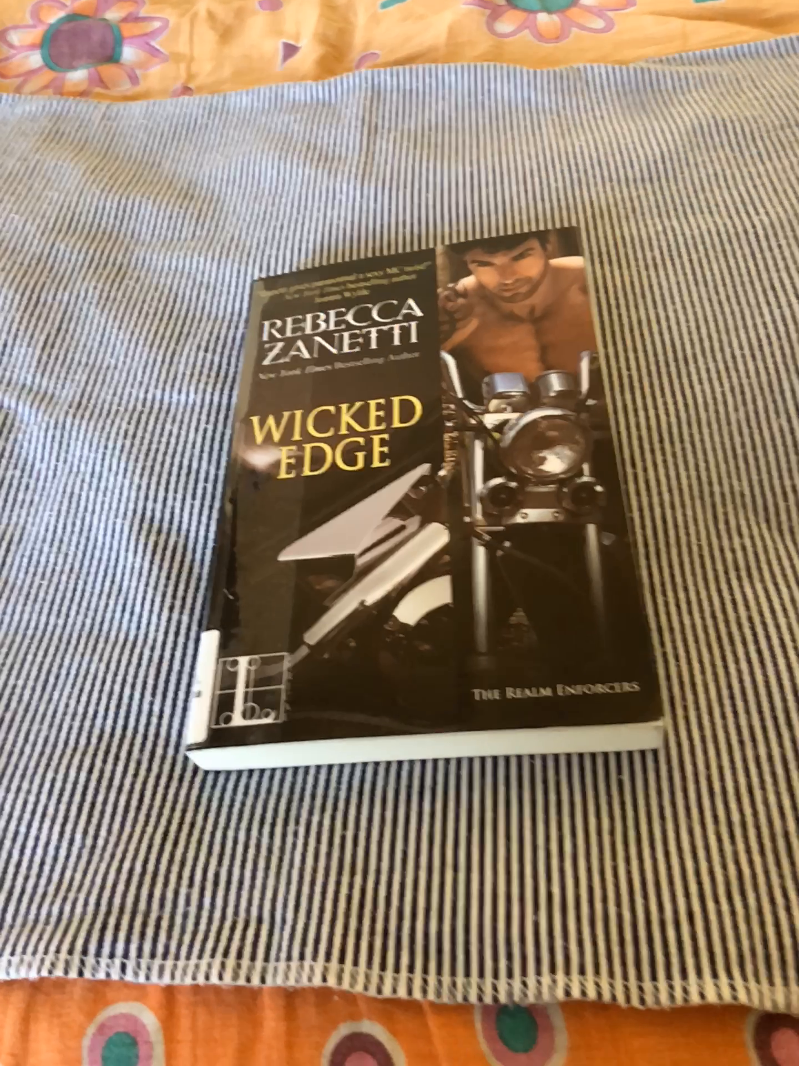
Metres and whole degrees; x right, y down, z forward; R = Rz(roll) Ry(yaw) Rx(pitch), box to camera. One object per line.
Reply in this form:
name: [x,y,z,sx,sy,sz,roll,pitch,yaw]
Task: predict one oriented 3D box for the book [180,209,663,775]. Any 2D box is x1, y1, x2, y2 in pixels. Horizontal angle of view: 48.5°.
book: [0.007,-0.027,0.321,0.137,0.030,0.215,-5,56,9]
